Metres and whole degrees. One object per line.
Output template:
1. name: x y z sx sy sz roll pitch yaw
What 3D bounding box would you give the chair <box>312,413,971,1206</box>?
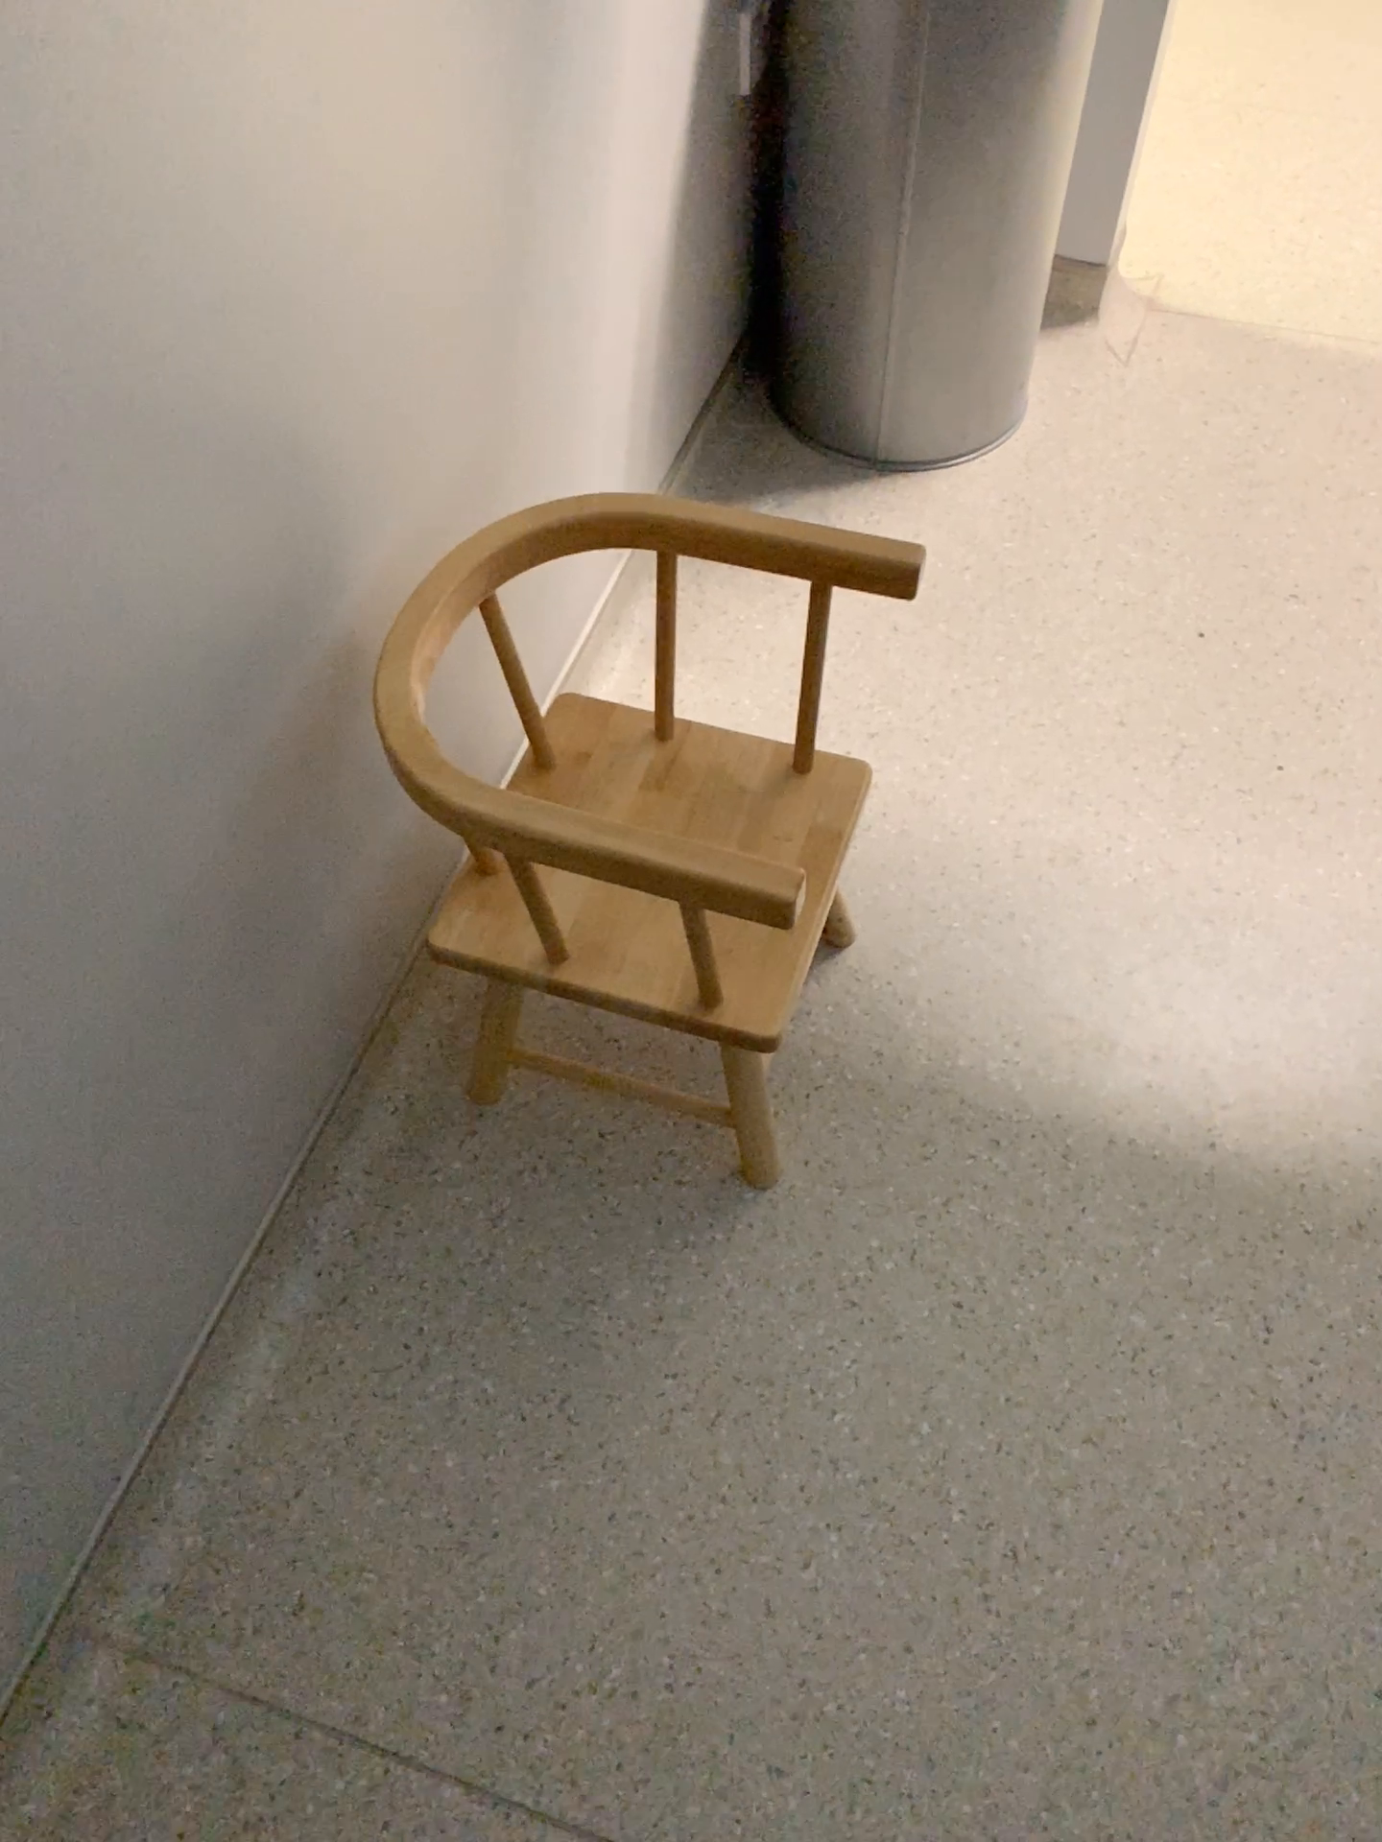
1. chair: -0.013 -0.076 1.175 0.343 0.482 0.363 18 58 14
